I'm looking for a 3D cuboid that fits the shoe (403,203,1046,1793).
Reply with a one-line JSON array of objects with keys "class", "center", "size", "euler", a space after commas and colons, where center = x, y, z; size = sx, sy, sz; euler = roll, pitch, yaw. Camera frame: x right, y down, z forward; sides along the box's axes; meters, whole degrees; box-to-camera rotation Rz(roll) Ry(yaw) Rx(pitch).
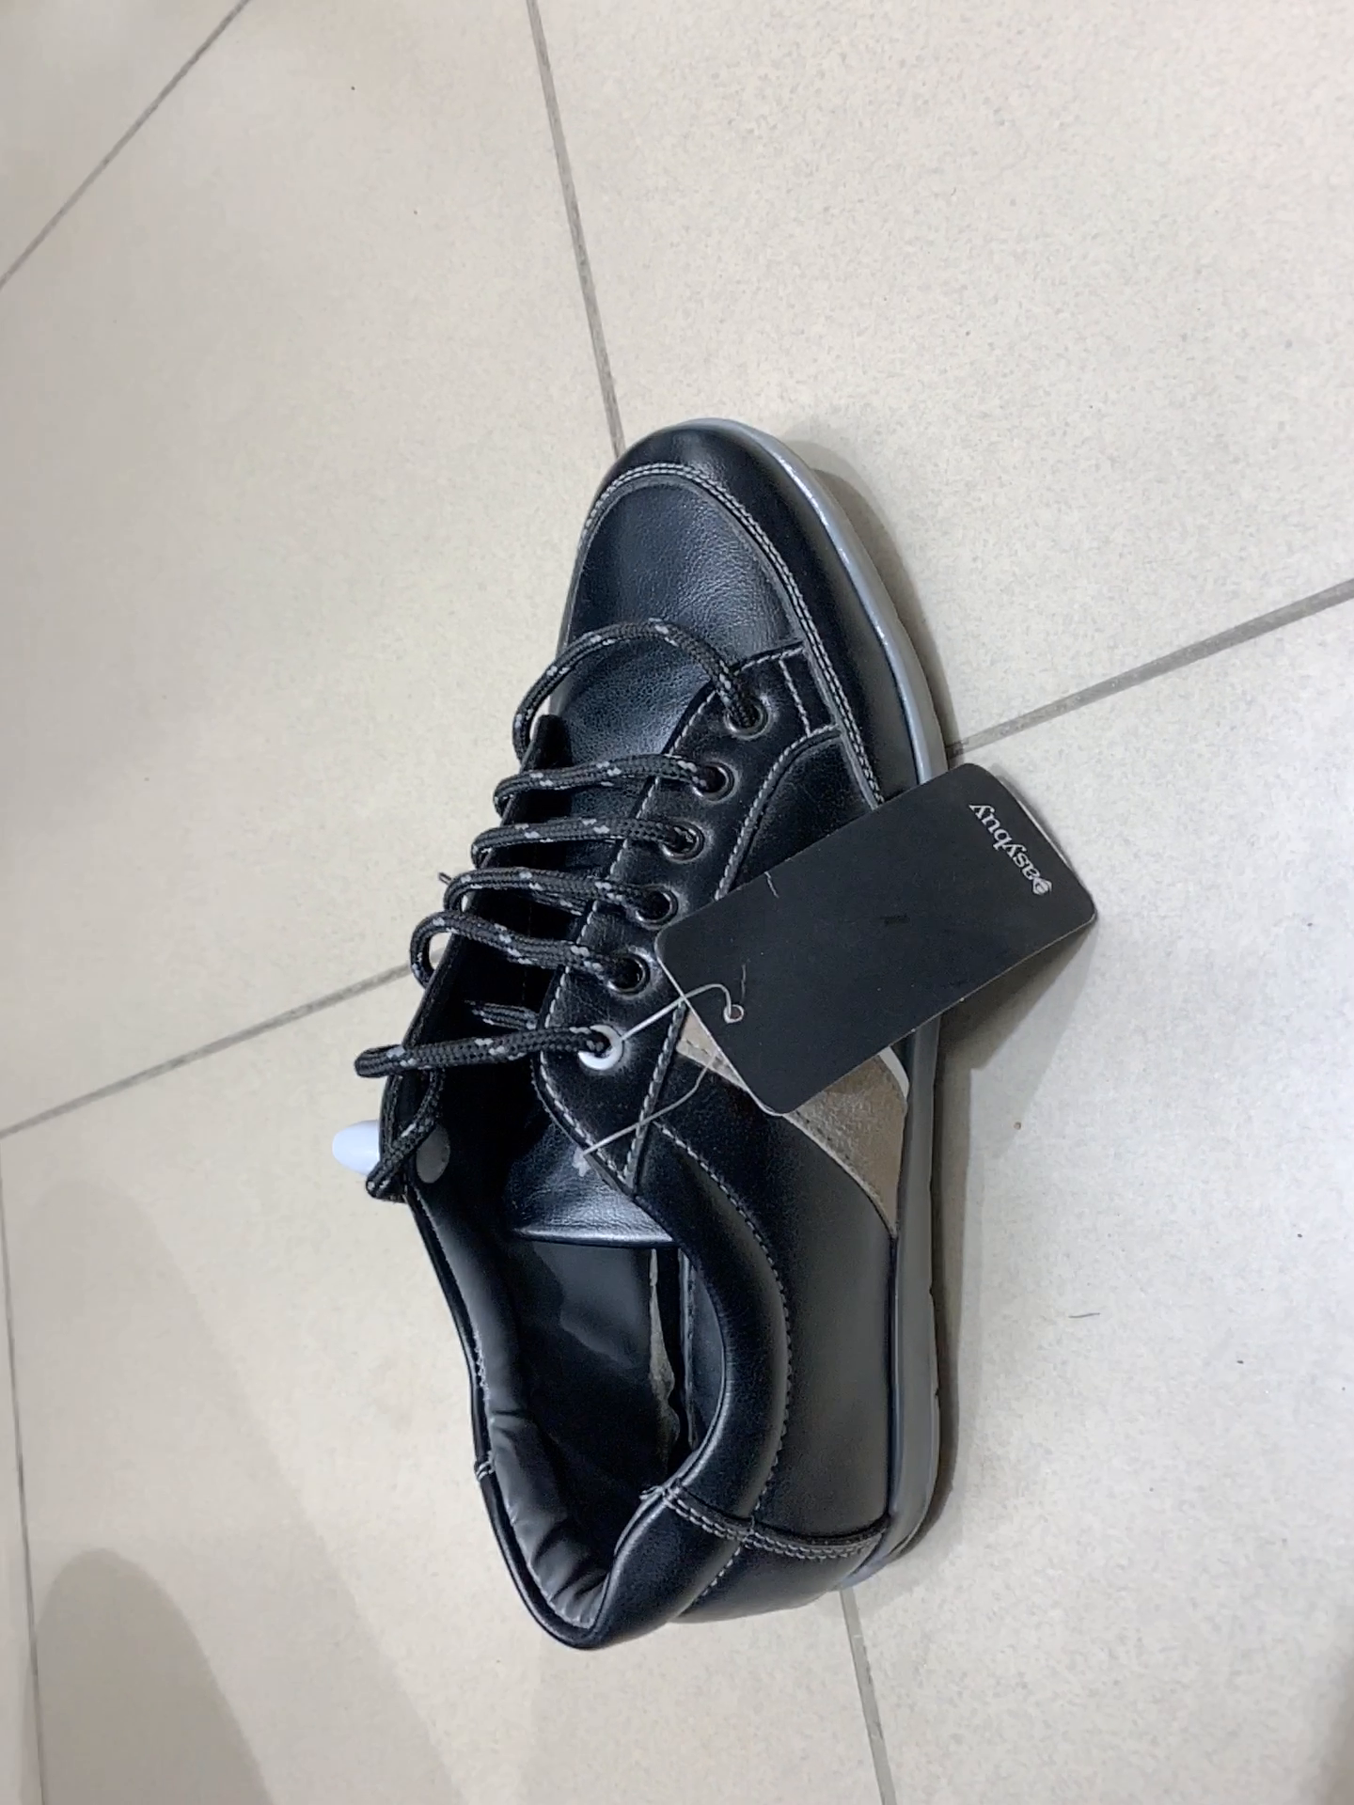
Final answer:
[{"class": "shoe", "center": [0.007, 0.016, 0.328], "size": [0.101, 0.090, 0.300], "euler": [-10, 80, 39]}]
